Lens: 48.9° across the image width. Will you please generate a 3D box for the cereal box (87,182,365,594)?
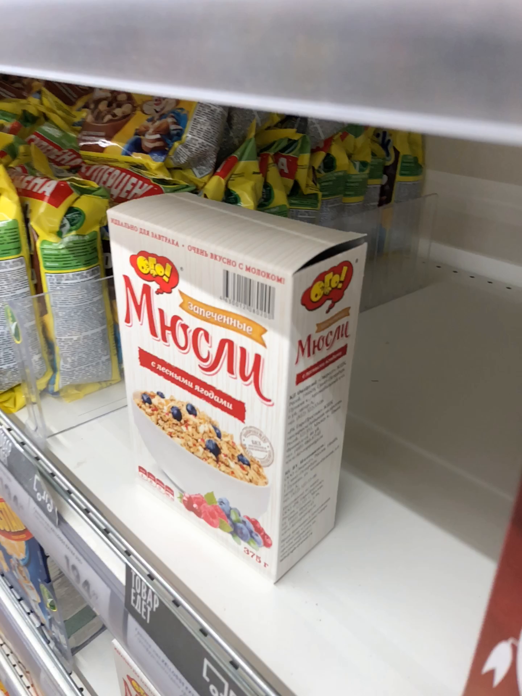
[{"bbox_3d":[-0.023,0.019,0.341,0.140,0.199,0.060,23,36,36],"label":"cereal box"}]
